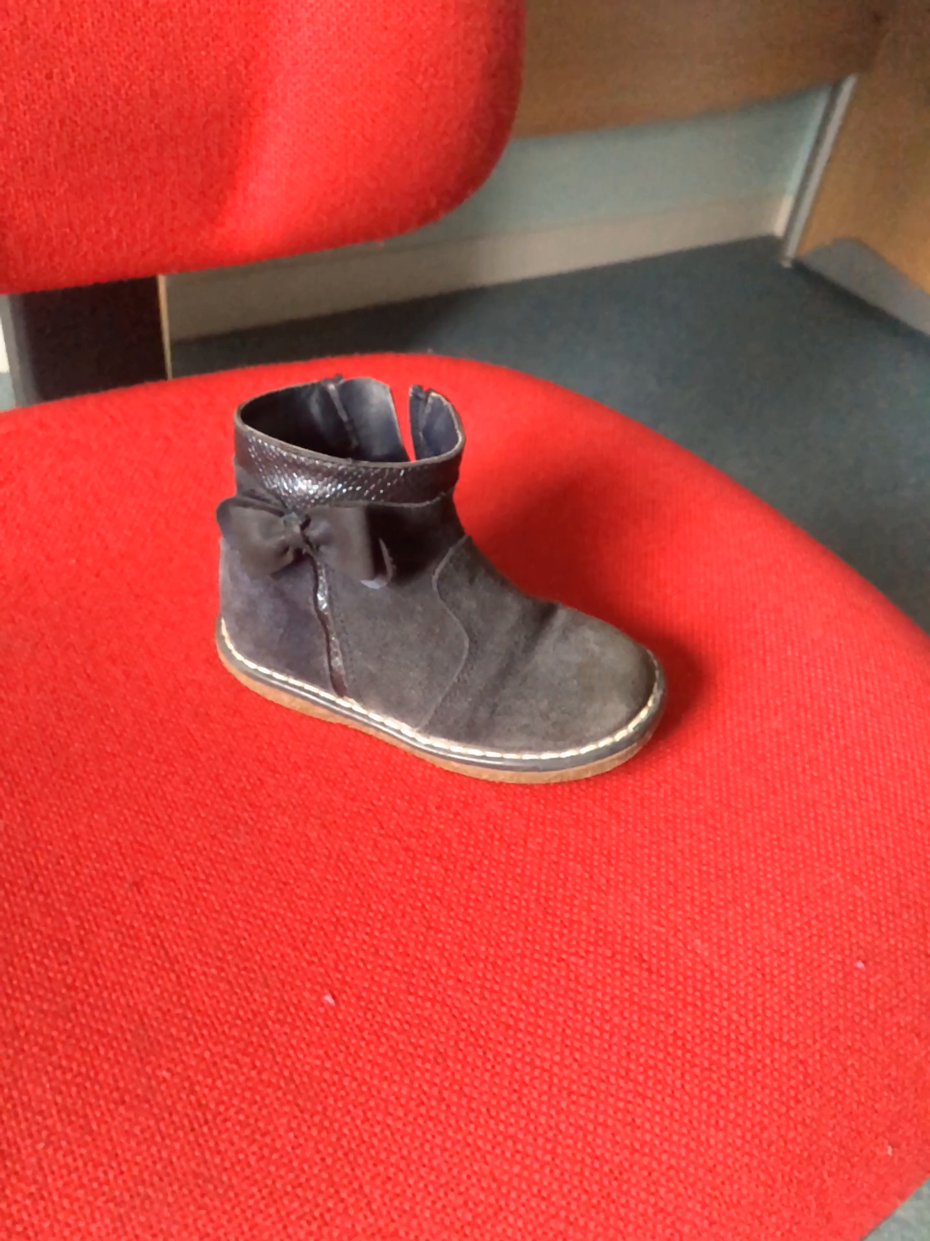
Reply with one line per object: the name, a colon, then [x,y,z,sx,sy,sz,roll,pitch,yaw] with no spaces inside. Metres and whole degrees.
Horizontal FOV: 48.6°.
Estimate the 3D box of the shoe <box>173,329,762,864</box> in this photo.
shoe: [-0.001,-0.009,0.324,0.150,0.099,0.081,18,43,8]
